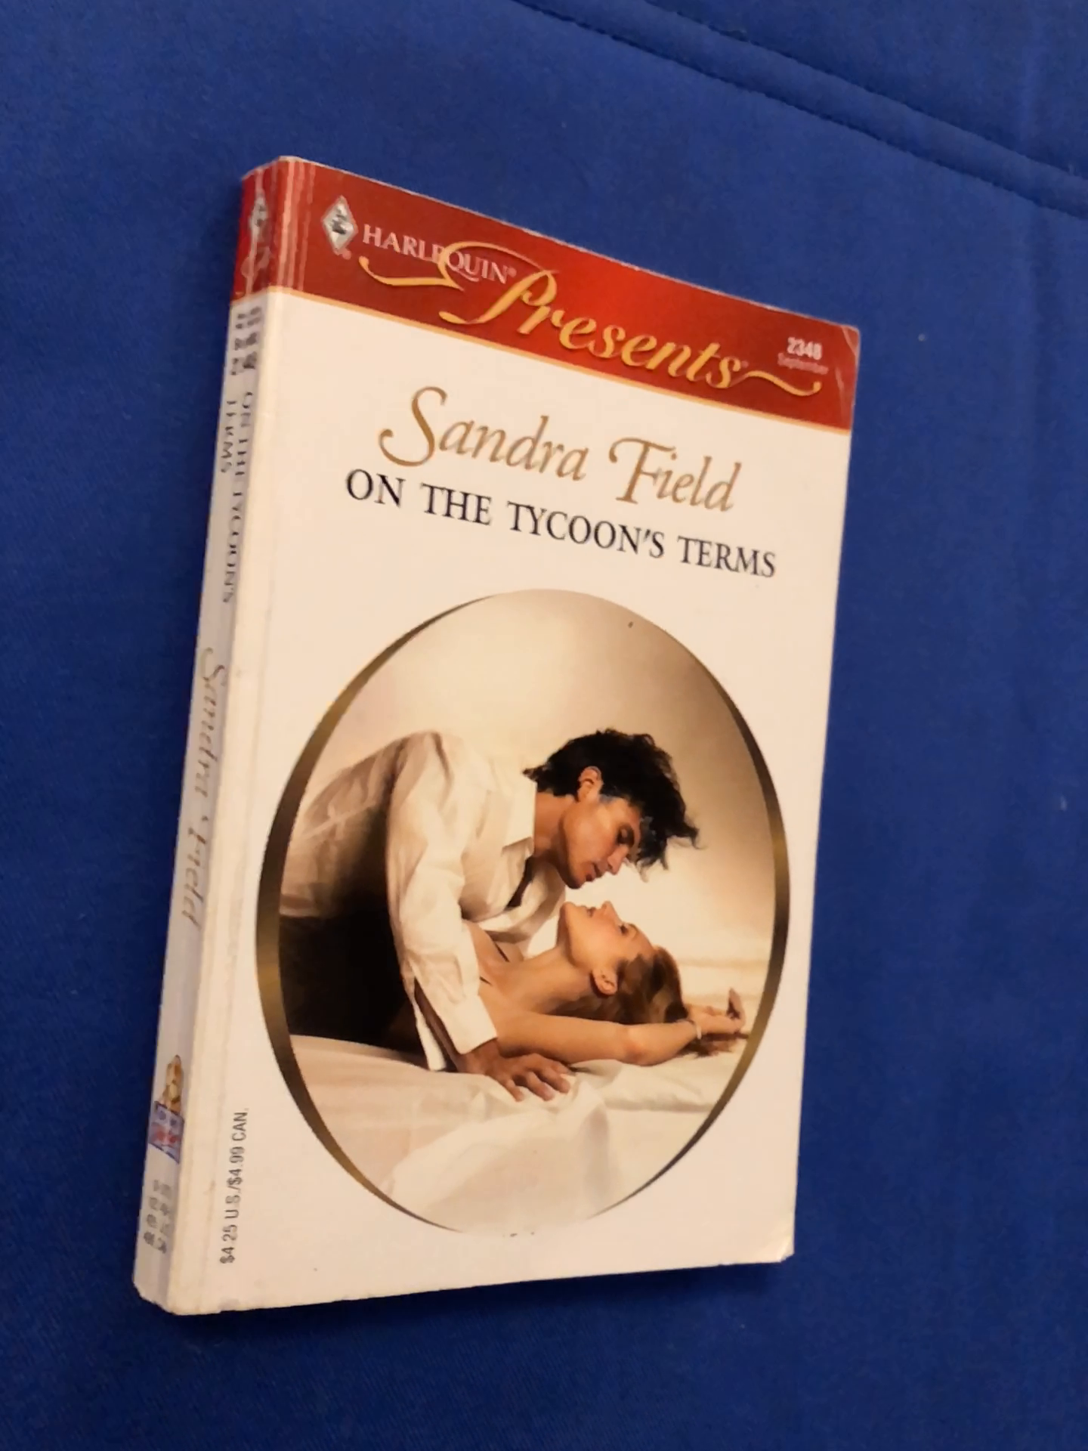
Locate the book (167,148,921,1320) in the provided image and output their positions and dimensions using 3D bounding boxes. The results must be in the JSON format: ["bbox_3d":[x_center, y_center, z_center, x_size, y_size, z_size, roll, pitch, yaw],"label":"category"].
[{"bbox_3d":[0.005,0.005,0.194,0.107,0.020,0.157,7,87,-25],"label":"book"}]
